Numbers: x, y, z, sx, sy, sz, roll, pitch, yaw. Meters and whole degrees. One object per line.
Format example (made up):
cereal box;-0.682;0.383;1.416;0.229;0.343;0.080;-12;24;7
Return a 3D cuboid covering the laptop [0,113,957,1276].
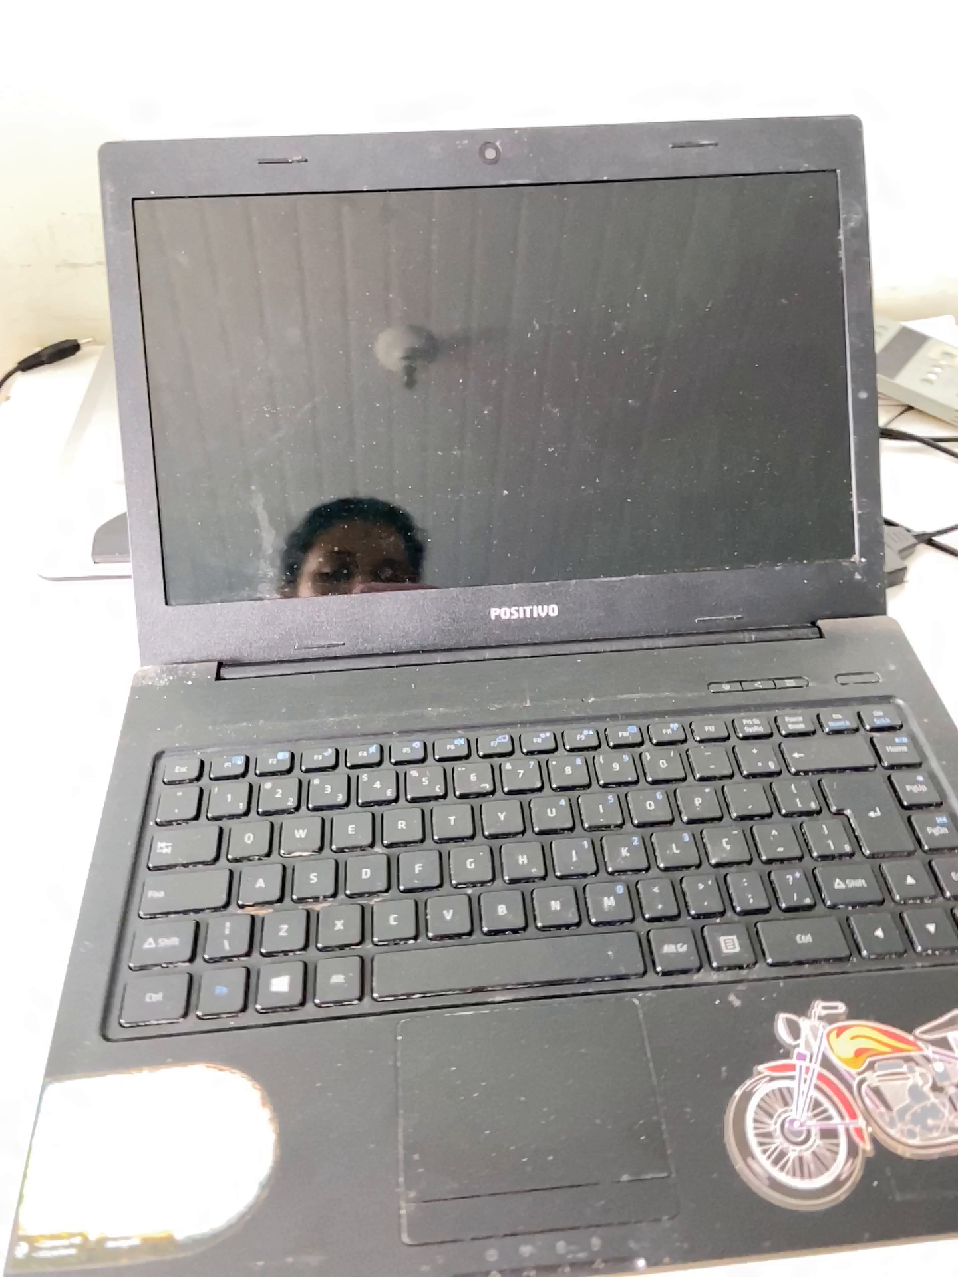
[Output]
laptop;0.020;-0.028;0.349;0.334;0.163;0.395;-4;45;-3
